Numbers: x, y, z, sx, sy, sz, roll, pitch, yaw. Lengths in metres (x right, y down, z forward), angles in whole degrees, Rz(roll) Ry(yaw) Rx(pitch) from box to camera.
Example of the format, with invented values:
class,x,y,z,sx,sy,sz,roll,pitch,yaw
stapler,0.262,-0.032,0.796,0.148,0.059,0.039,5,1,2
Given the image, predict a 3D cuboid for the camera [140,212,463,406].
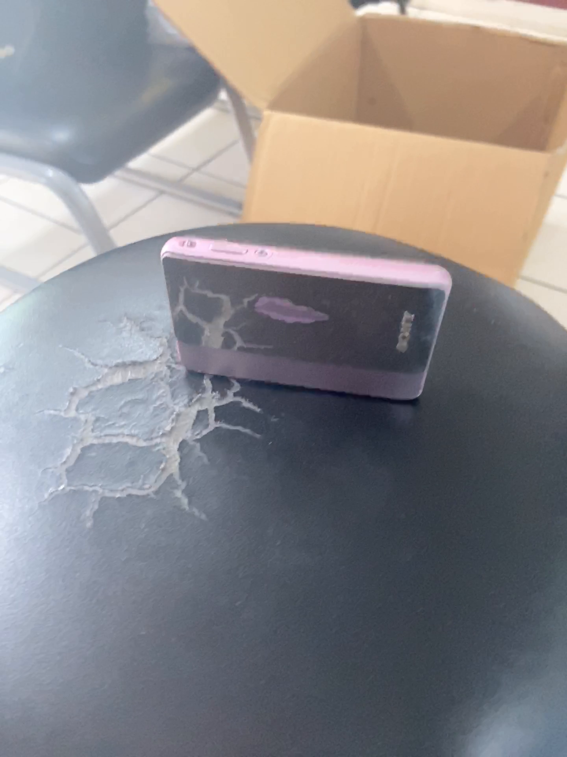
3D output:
class,x,y,z,sx,sy,sz,roll,pitch,yaw
camera,0.006,-0.024,0.210,0.100,0.050,0.030,7,48,6
